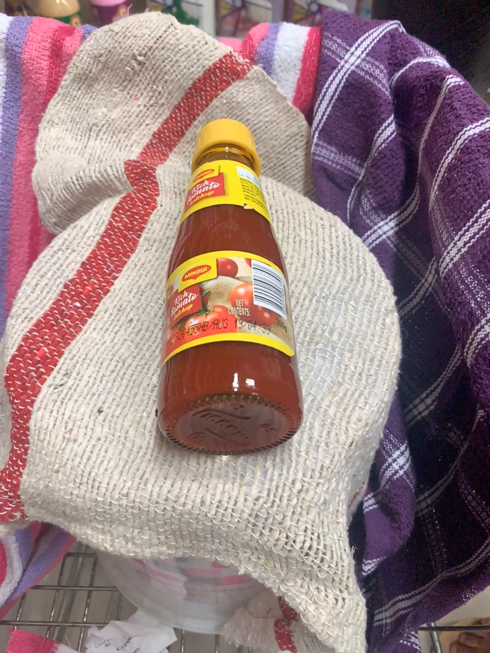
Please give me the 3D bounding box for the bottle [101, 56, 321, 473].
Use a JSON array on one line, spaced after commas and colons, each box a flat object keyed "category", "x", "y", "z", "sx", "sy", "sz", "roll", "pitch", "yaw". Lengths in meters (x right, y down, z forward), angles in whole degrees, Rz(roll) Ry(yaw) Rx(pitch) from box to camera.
[{"category": "bottle", "x": -0.013, "y": -0.035, "z": 0.210, "sx": 0.050, "sy": 0.050, "sz": 0.170, "roll": -21, "pitch": 50, "yaw": 23}]
